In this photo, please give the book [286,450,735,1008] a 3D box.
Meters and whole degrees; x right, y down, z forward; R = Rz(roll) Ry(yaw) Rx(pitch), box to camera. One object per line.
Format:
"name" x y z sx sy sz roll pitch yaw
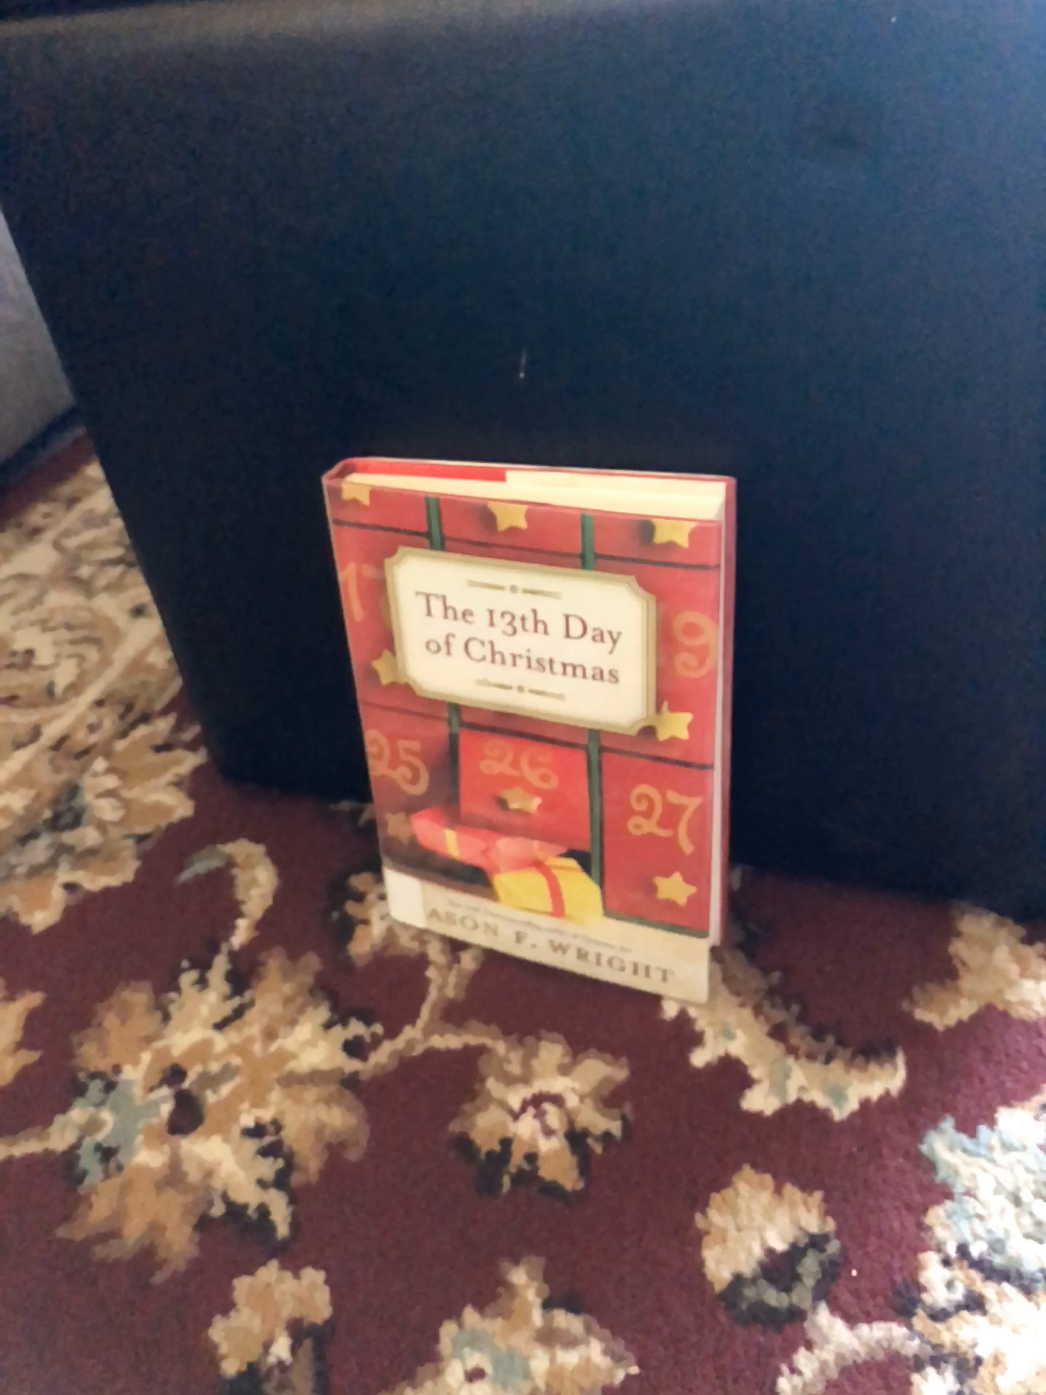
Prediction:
"book" 0.001 0.013 0.419 0.138 0.190 0.040 7 32 19
